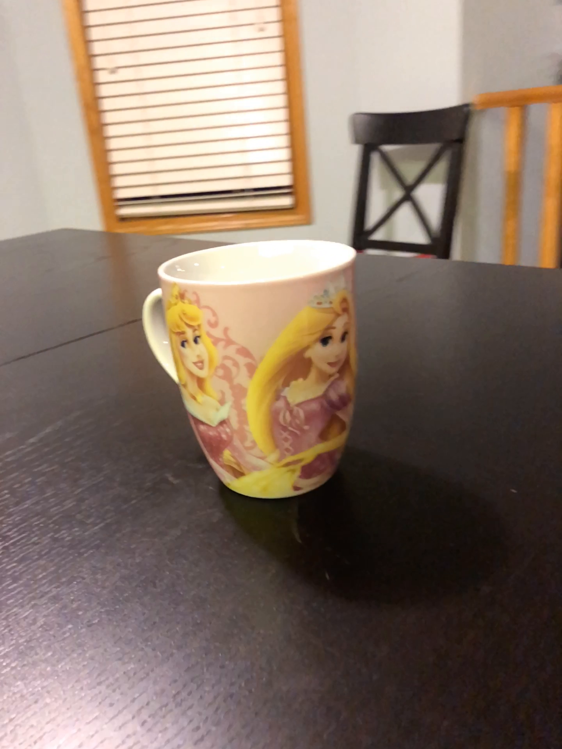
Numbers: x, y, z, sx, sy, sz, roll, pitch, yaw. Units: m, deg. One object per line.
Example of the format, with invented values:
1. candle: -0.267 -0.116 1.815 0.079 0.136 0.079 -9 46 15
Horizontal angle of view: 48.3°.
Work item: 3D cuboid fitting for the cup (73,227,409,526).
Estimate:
1. cup: -0.015 -0.011 0.298 0.120 0.100 0.090 11 26 36
